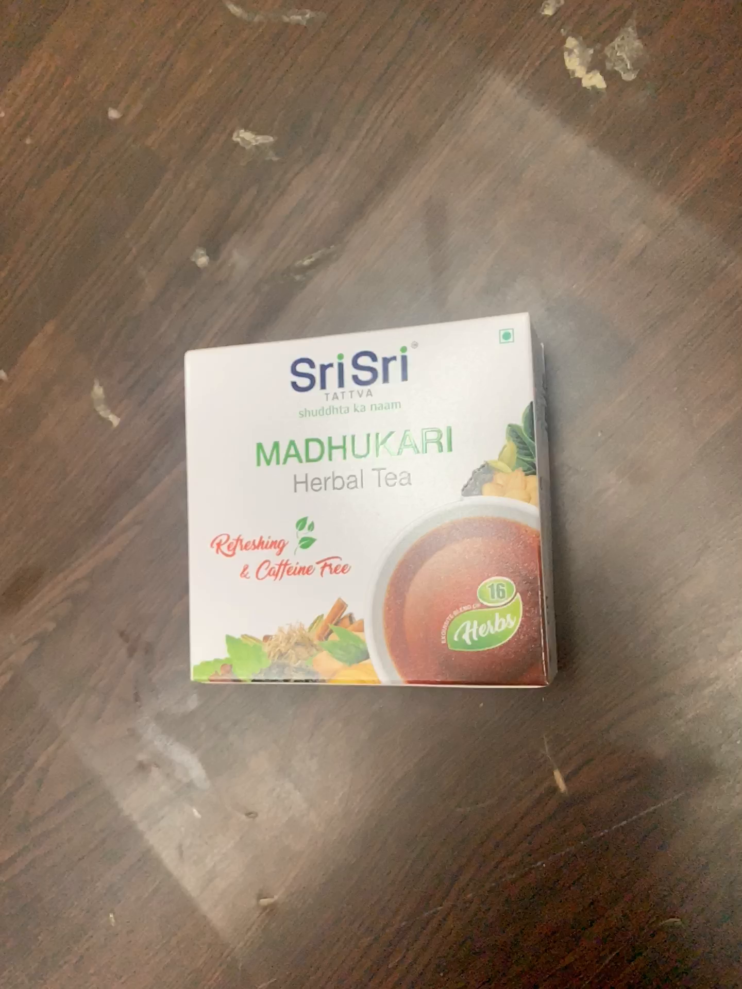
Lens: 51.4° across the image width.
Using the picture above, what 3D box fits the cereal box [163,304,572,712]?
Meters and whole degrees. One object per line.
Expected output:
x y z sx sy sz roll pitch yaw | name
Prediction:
-0.002 0.007 0.264 0.130 0.040 0.120 -3 87 17 | cereal box
